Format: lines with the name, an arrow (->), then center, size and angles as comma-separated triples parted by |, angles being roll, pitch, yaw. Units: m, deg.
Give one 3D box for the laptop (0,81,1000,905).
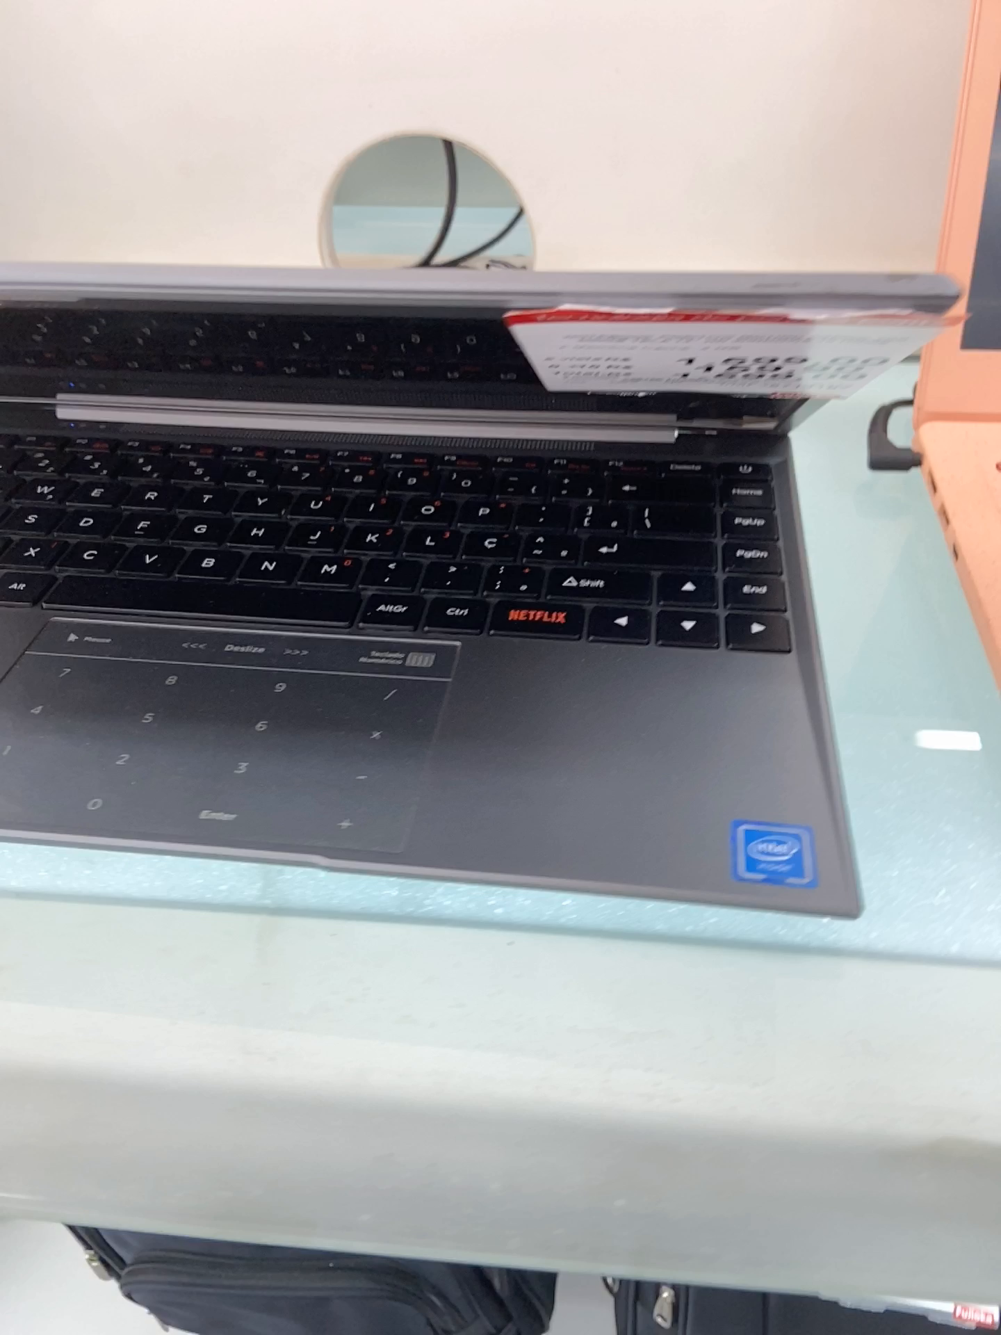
laptop -> -0.073, -0.072, 0.286 | 0.333, 0.113, 0.212 | 4, 40, 8
